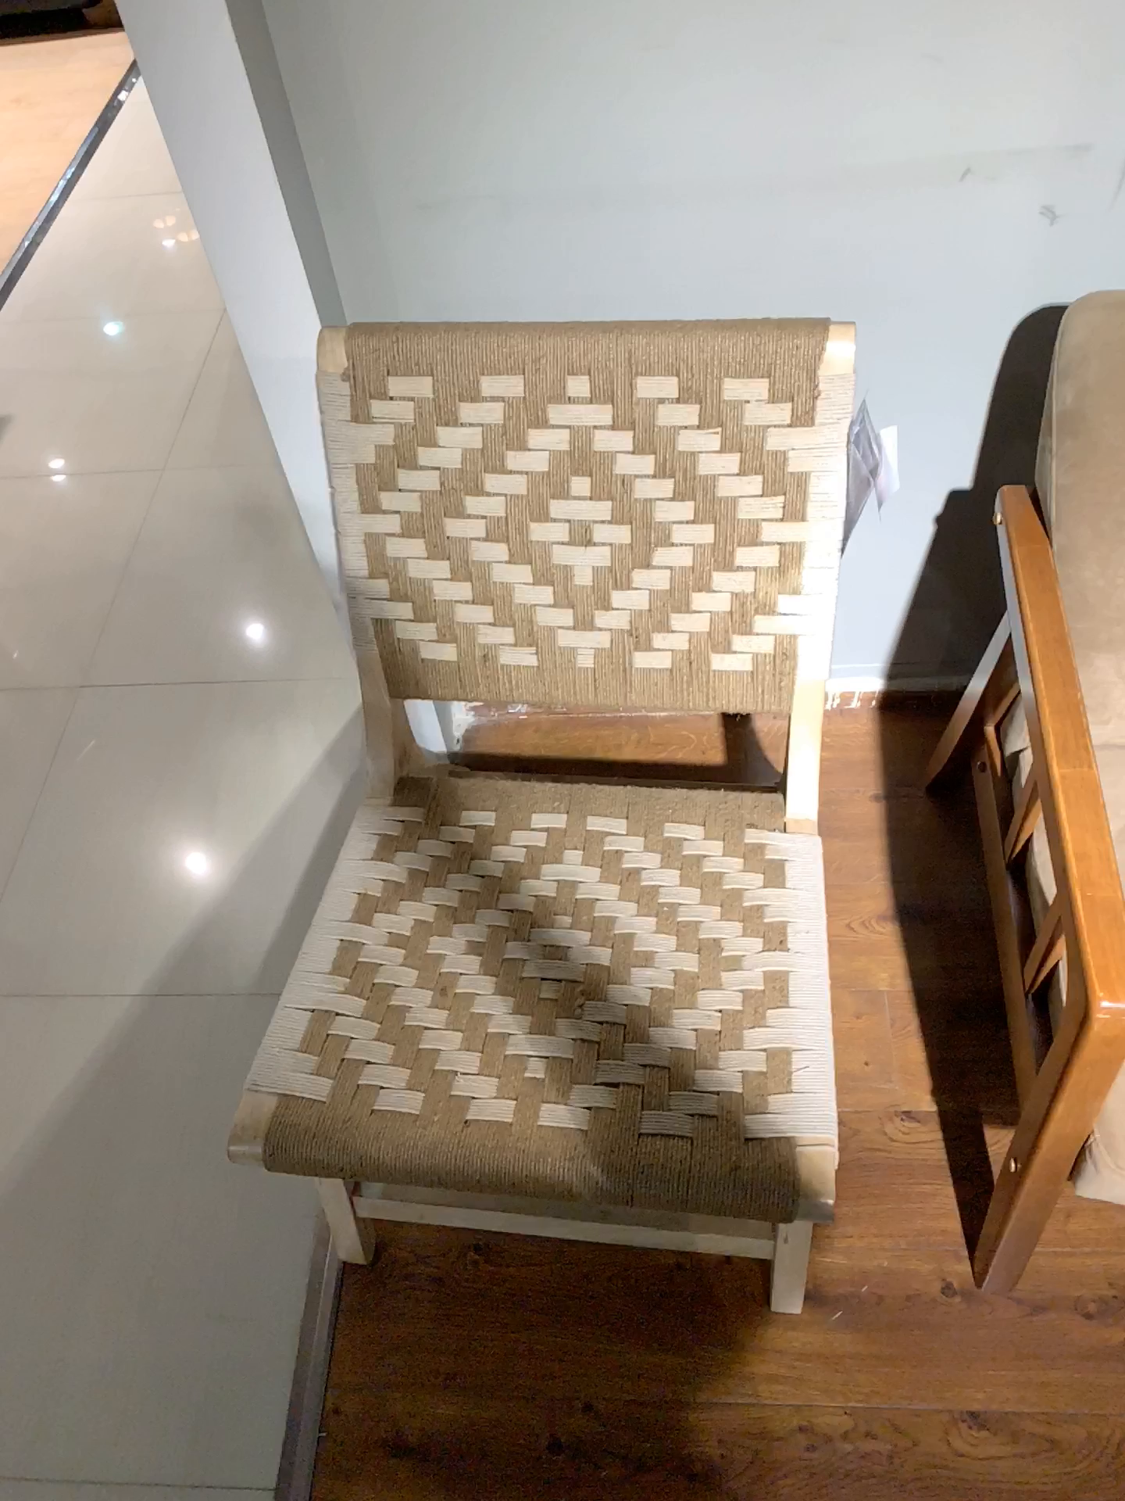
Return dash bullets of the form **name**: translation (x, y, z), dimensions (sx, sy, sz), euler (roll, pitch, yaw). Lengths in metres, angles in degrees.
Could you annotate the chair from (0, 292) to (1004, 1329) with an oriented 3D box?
- **chair**: translation (0.001, 0.108, 1.181), dimensions (0.630, 0.848, 0.661), euler (2, 53, 9)
